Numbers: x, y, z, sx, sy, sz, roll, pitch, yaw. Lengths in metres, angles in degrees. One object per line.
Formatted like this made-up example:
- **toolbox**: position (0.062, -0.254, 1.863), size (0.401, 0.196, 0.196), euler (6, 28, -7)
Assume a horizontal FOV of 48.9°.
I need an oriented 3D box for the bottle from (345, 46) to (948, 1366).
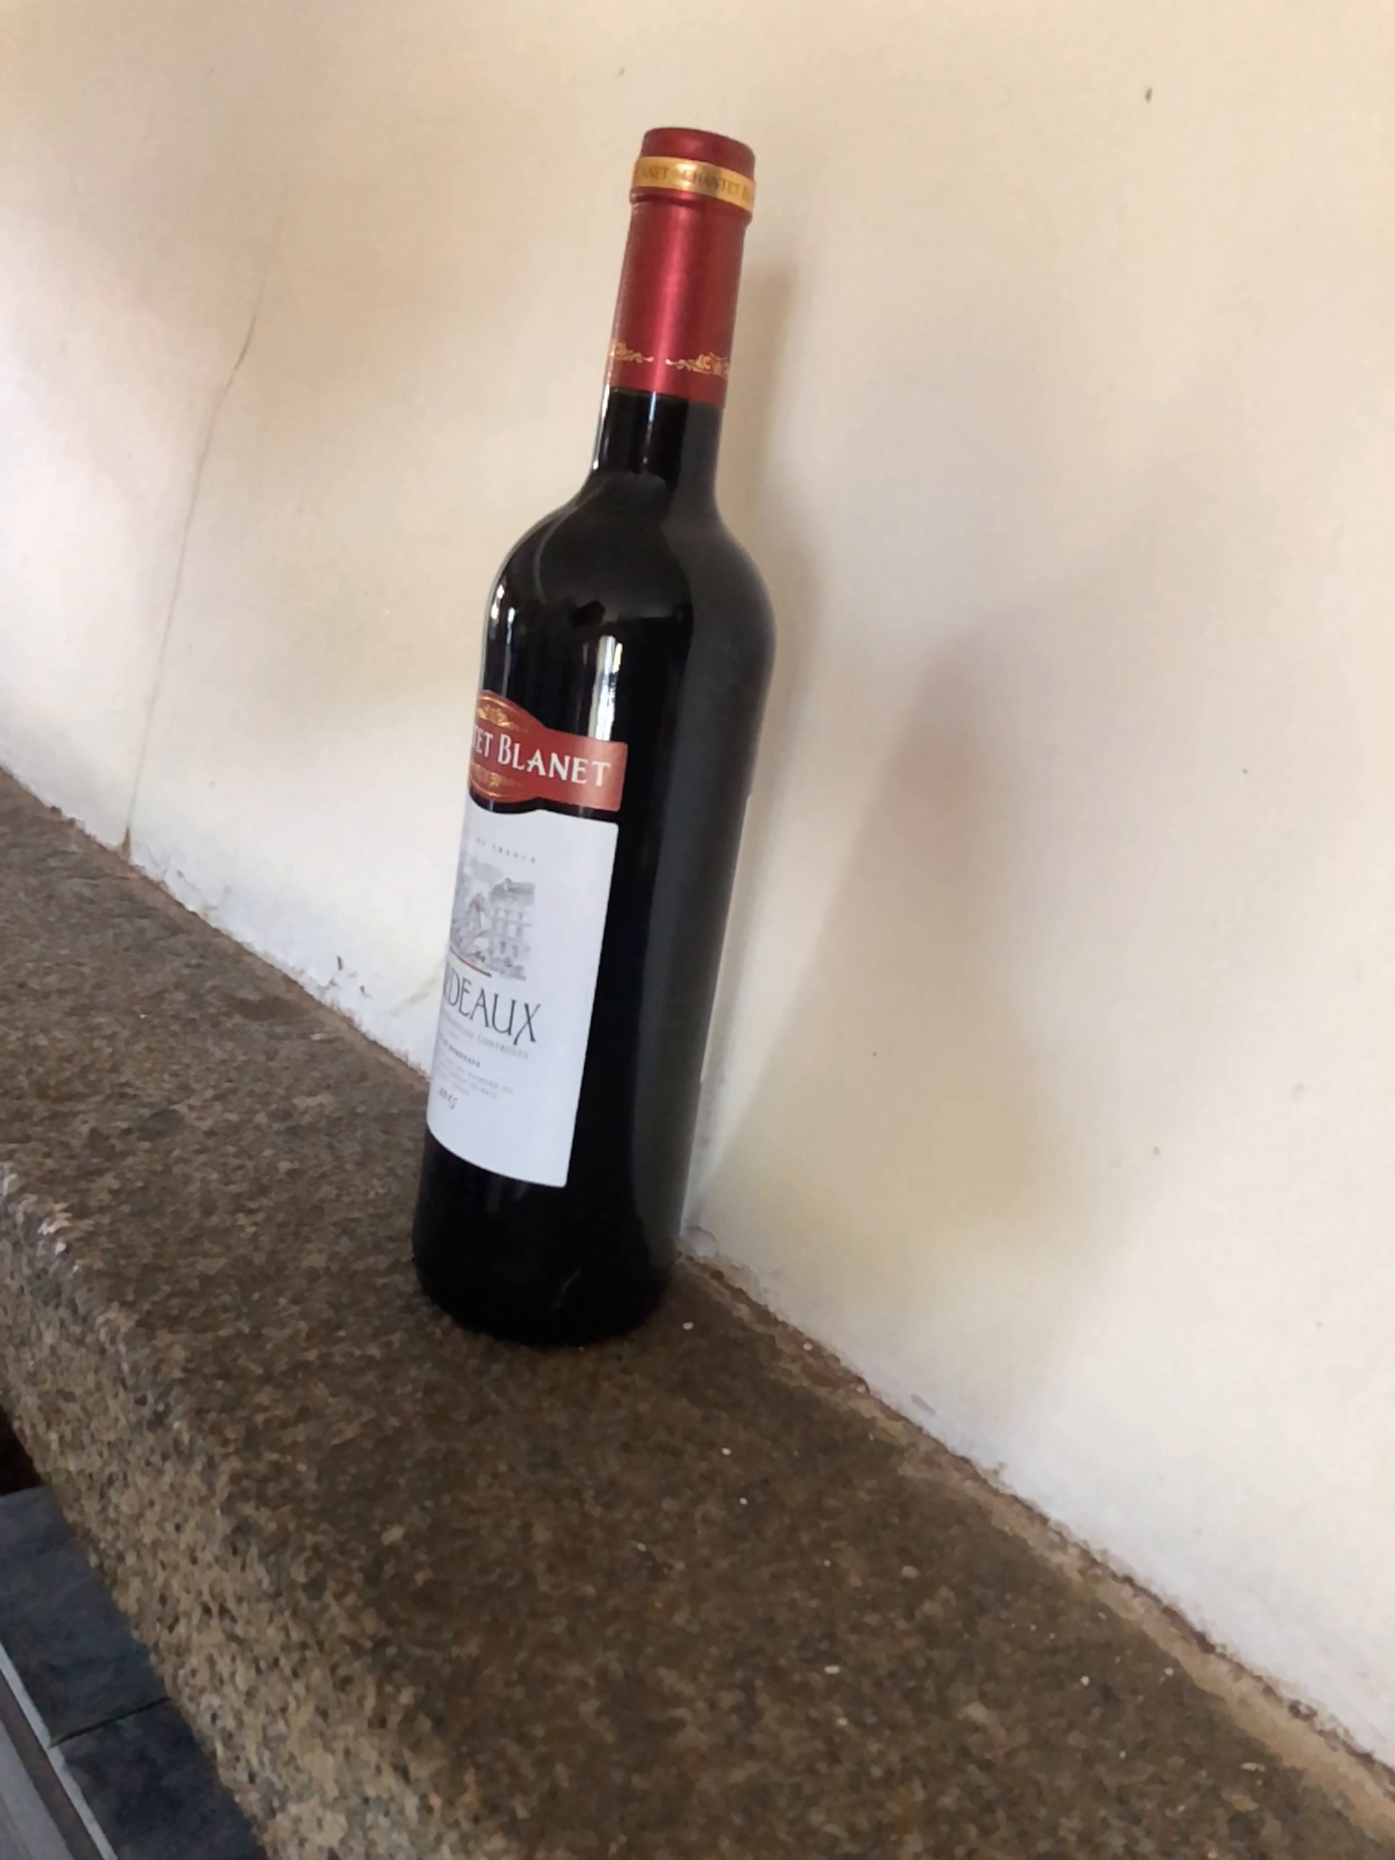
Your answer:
- **bottle**: position (-0.020, -0.048, 0.389), size (0.080, 0.289, 0.080), euler (8, 13, -2)
